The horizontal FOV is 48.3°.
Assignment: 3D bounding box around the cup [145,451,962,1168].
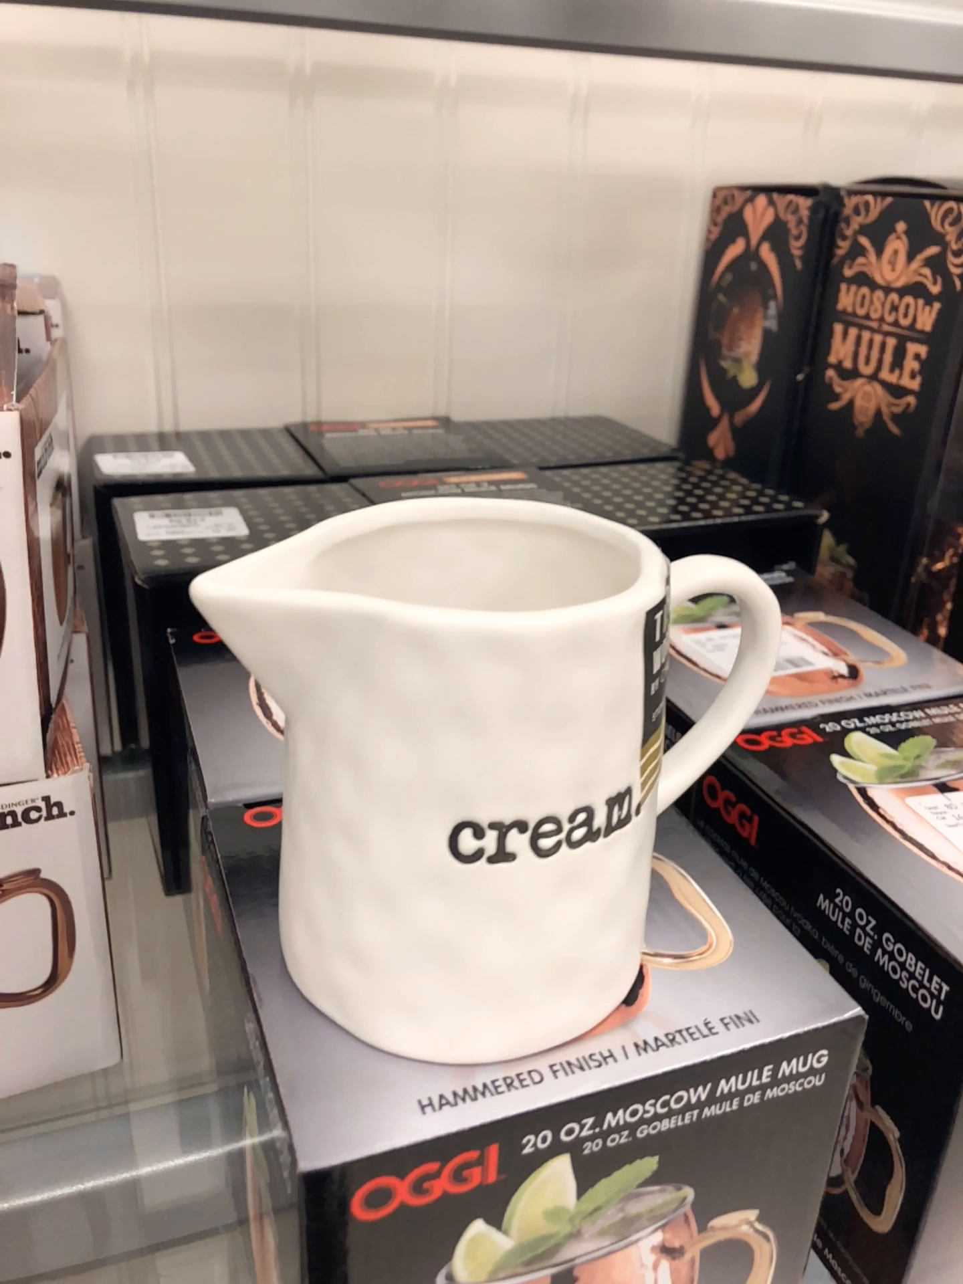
[{"bbox_3d":[0.014,0.018,0.191,0.125,0.080,0.063,-9,26,-25],"label":"cup"}]
